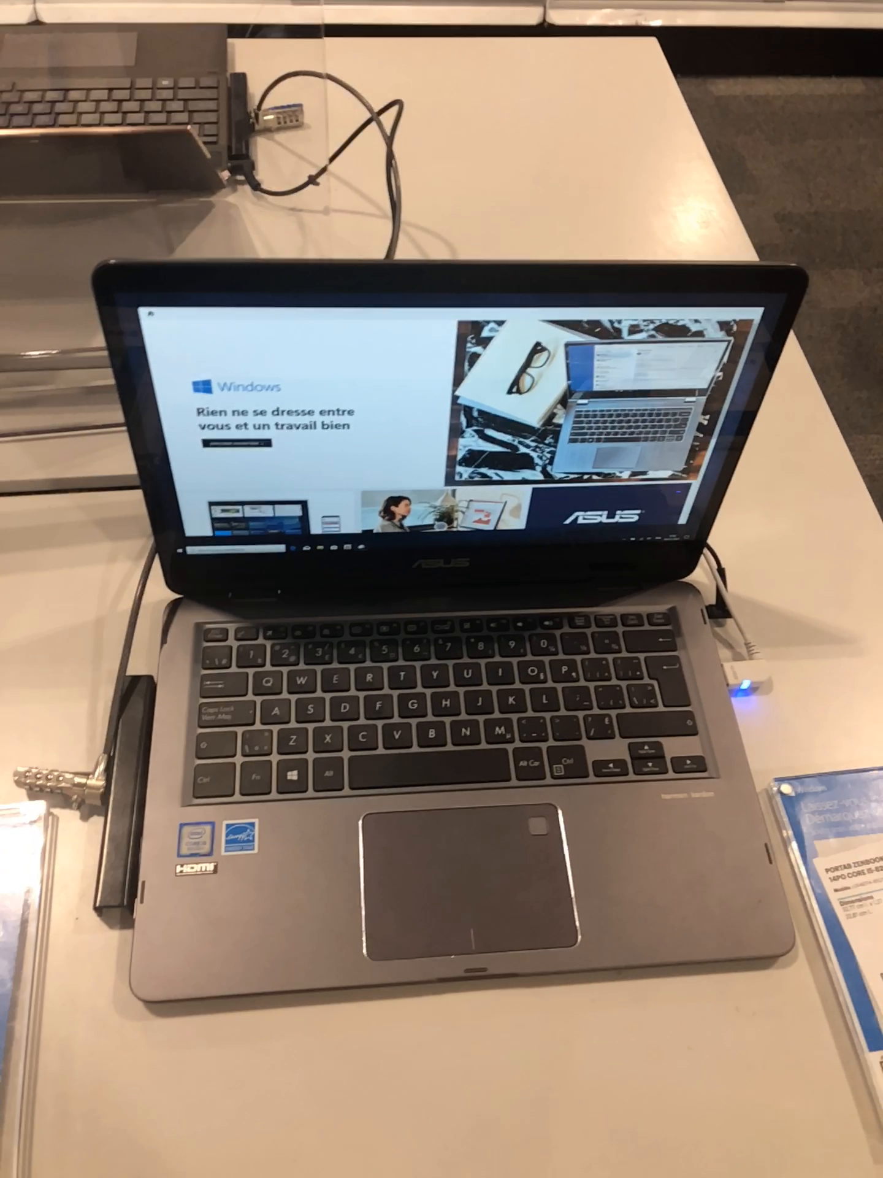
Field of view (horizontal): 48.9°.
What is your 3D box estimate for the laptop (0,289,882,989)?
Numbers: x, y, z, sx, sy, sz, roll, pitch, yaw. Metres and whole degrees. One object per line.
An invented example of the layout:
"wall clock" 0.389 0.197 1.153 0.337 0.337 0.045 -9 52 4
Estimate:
"laptop" 0.011 0.026 0.430 0.302 0.217 0.225 -2 54 -5
